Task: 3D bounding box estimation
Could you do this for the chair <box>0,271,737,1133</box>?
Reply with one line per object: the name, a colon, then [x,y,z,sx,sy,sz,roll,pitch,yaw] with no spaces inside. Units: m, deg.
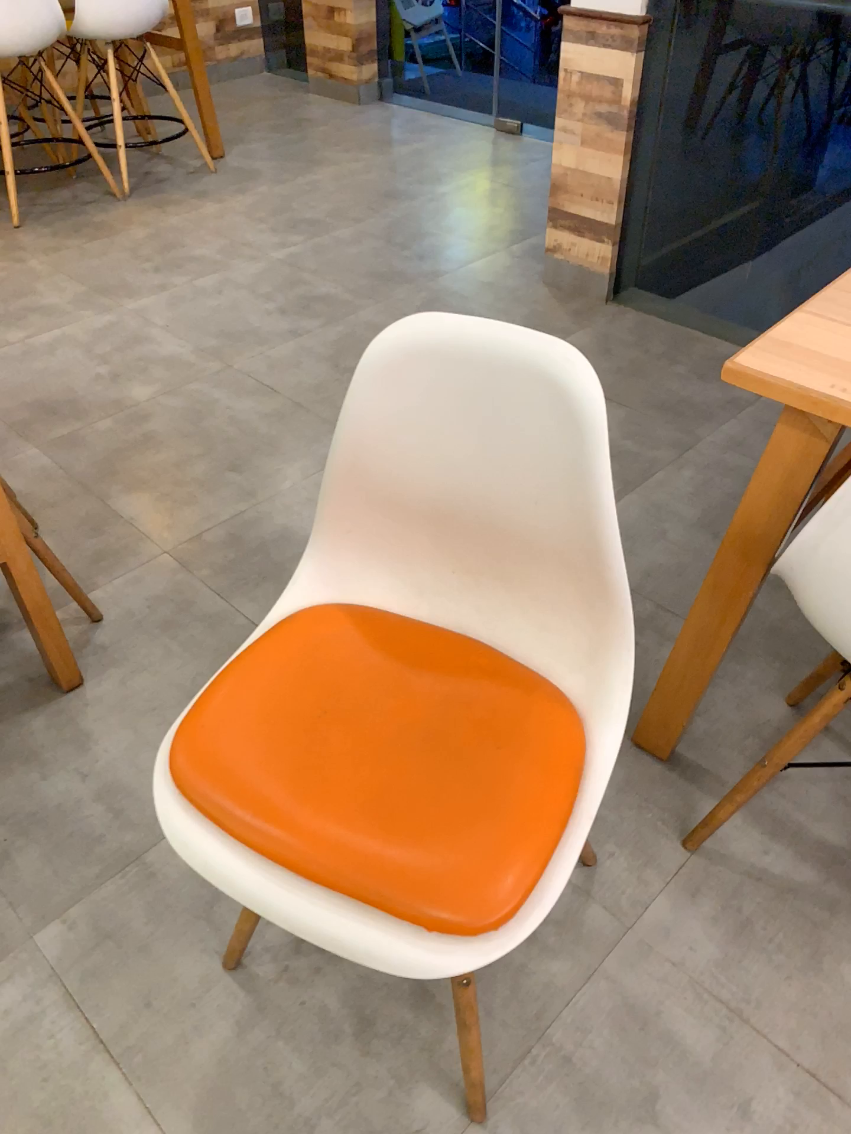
chair: [-0.022,0.154,0.933,0.441,0.724,0.453,19,44,22]
